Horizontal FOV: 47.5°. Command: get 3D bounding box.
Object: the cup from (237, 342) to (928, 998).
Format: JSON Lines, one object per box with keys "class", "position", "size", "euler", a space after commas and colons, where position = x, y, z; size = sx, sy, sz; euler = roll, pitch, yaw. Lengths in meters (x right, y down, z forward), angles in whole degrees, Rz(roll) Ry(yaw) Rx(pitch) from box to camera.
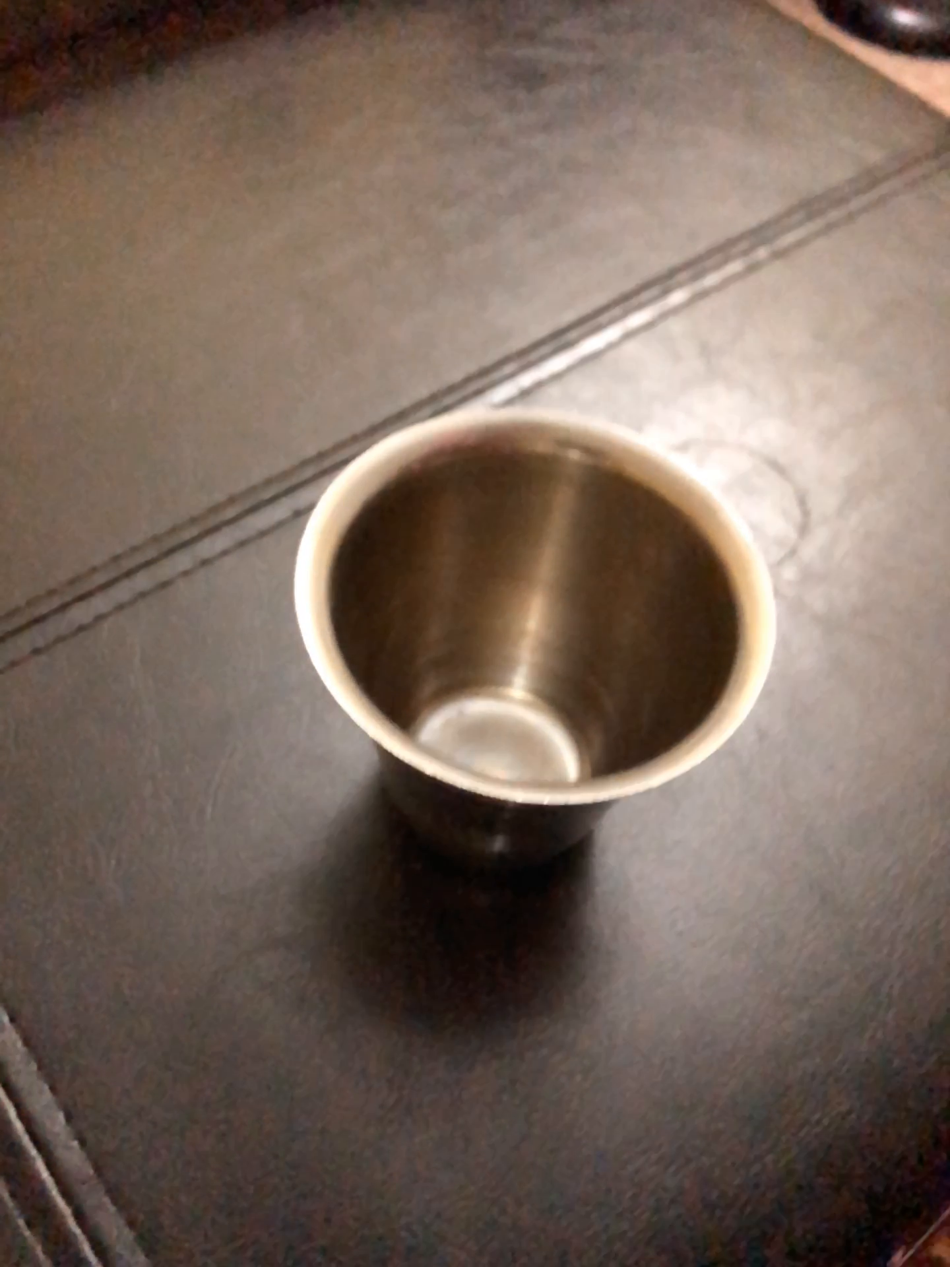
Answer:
{"class": "cup", "position": [0.011, 0.004, 0.171], "size": [0.074, 0.052, 0.067], "euler": [2, 57, -3]}
